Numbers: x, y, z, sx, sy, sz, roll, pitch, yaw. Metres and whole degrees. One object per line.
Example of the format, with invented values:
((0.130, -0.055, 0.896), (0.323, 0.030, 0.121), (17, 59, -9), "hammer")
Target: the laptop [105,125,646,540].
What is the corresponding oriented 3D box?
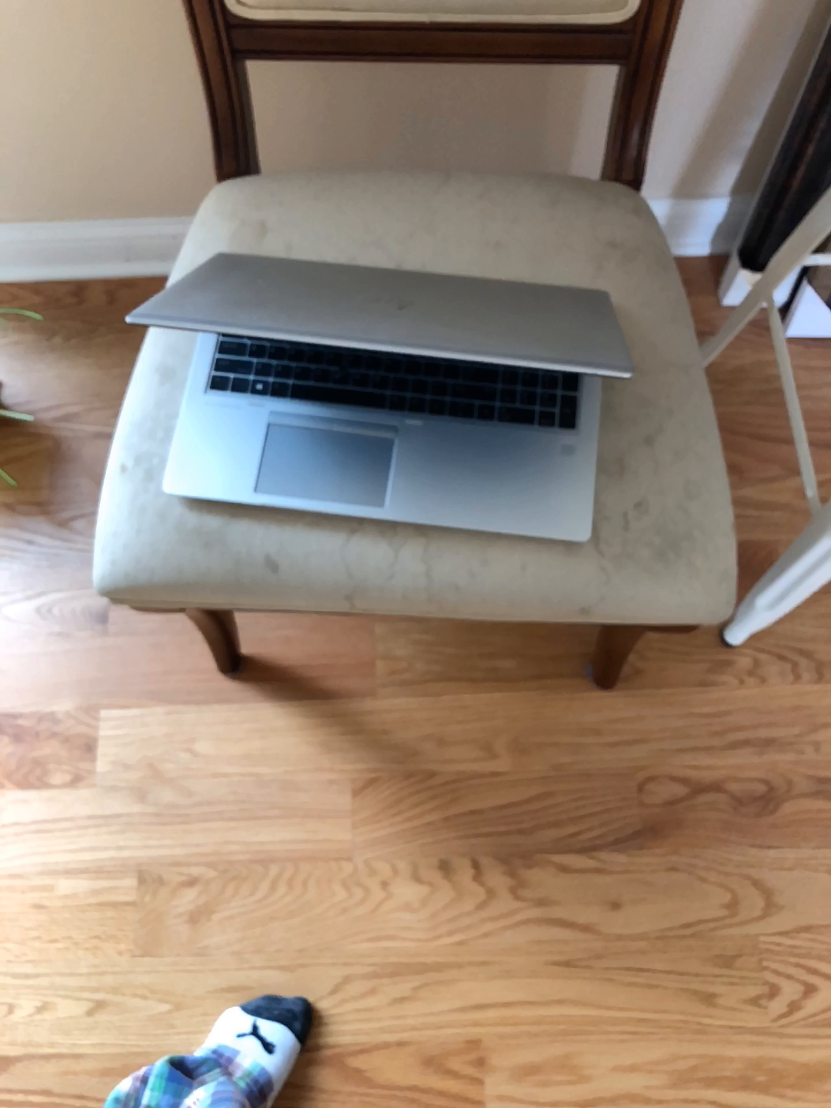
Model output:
((-0.020, -0.174, 0.751), (0.365, 0.159, 0.244), (7, 70, 3), "laptop")
